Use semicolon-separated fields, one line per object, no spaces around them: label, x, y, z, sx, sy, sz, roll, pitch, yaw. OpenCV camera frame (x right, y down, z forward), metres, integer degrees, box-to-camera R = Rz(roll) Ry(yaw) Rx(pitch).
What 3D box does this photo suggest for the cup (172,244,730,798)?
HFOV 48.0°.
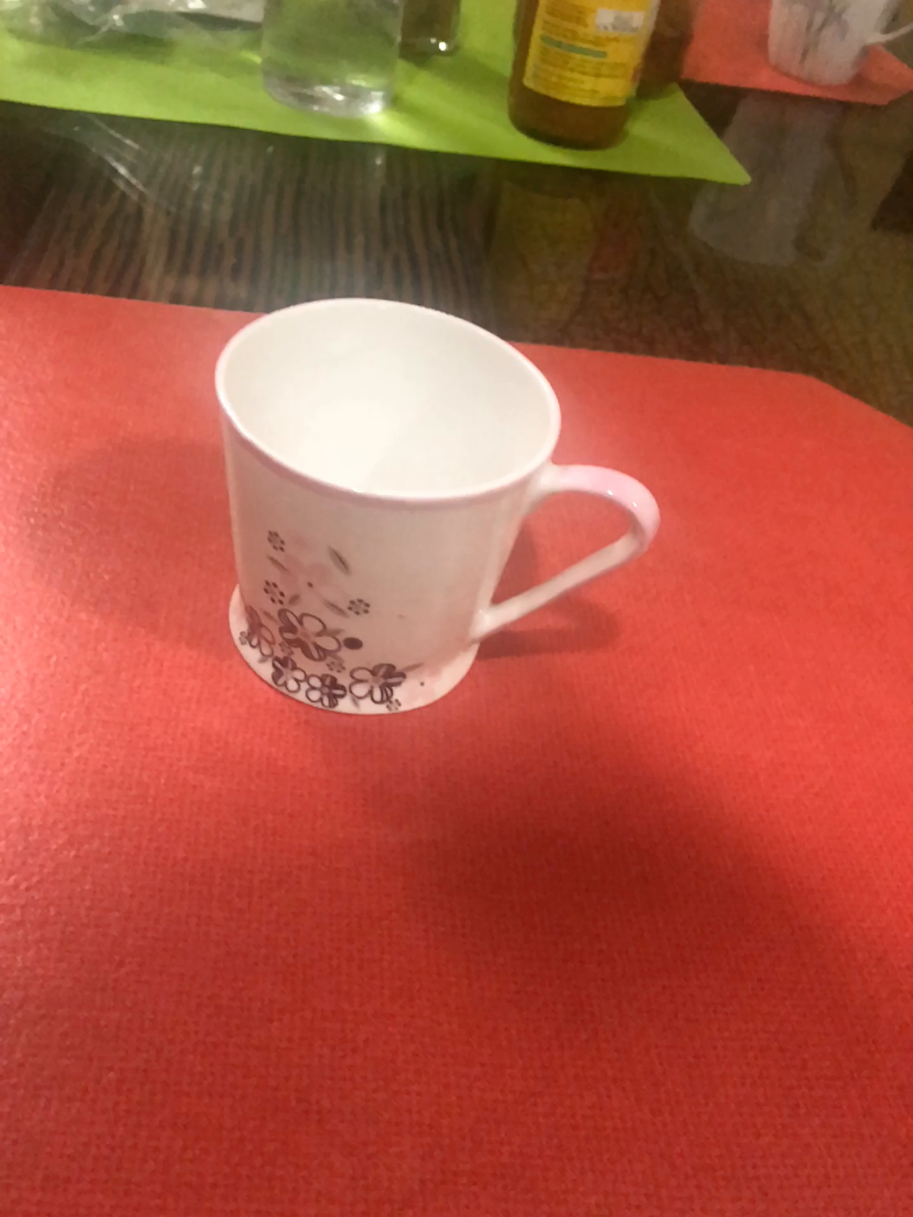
cup;-0.002;-0.019;0.233;0.100;0.080;0.070;12;43;0
